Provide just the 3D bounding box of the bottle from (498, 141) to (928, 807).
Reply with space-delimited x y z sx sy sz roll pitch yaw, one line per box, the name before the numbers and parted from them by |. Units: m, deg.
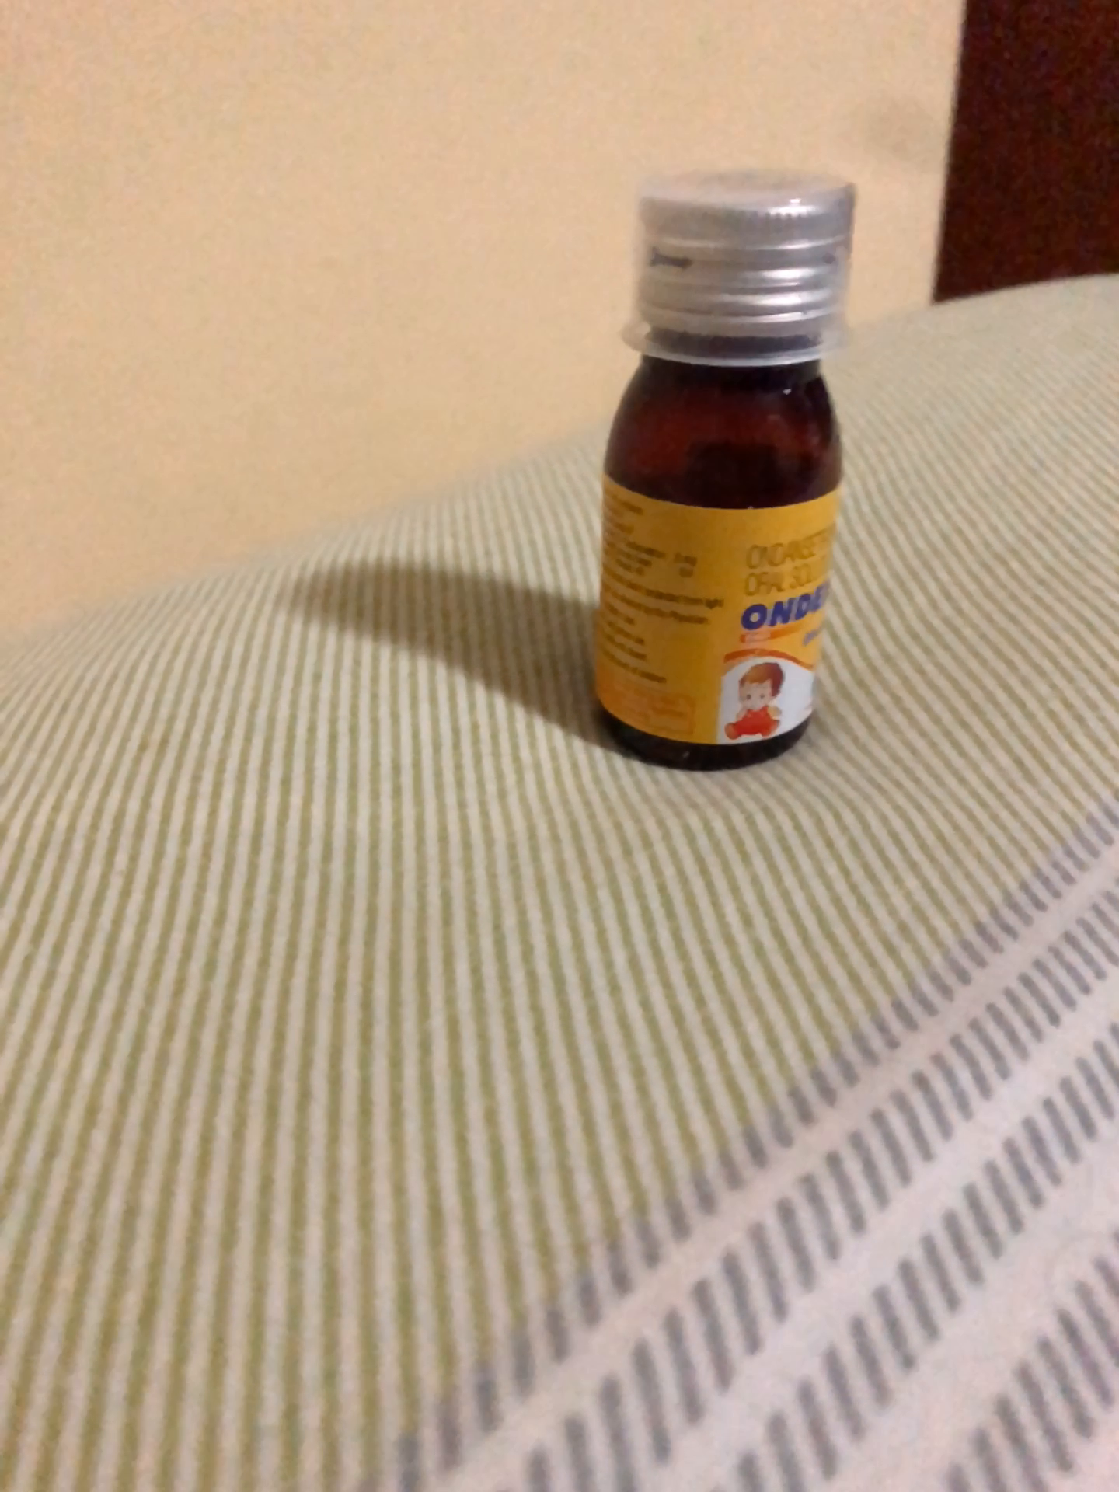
bottle | 0.019 -0.038 0.174 0.037 0.076 0.038 -2 32 1
